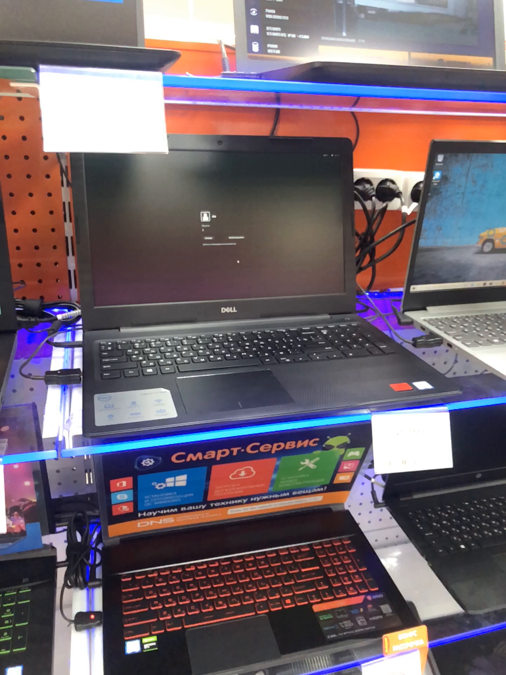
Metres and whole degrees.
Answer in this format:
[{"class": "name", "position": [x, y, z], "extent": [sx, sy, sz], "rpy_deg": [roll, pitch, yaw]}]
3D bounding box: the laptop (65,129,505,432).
[{"class": "laptop", "position": [-0.003, -0.100, 0.624], "extent": [0.374, 0.233, 0.317], "rpy_deg": [-4, 21, -17]}]
